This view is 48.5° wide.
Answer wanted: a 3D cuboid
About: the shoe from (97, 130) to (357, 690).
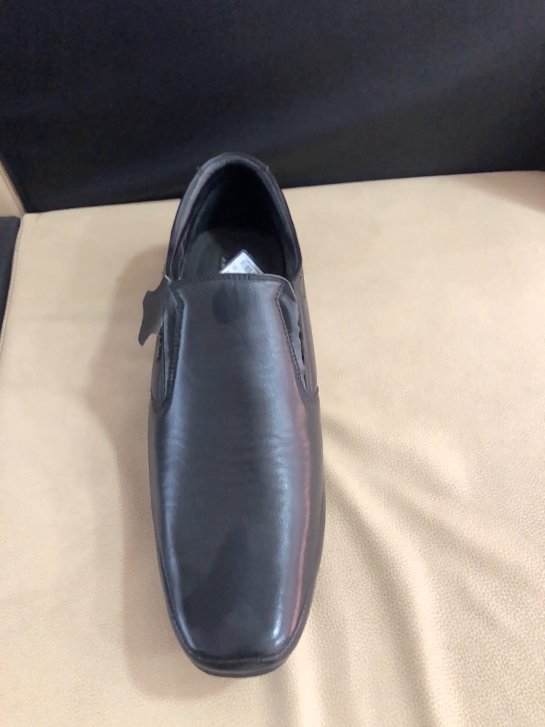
[{"bbox_3d":[-0.023,0.005,0.358,0.100,0.090,0.321,-4,57,1],"label":"shoe"}]
